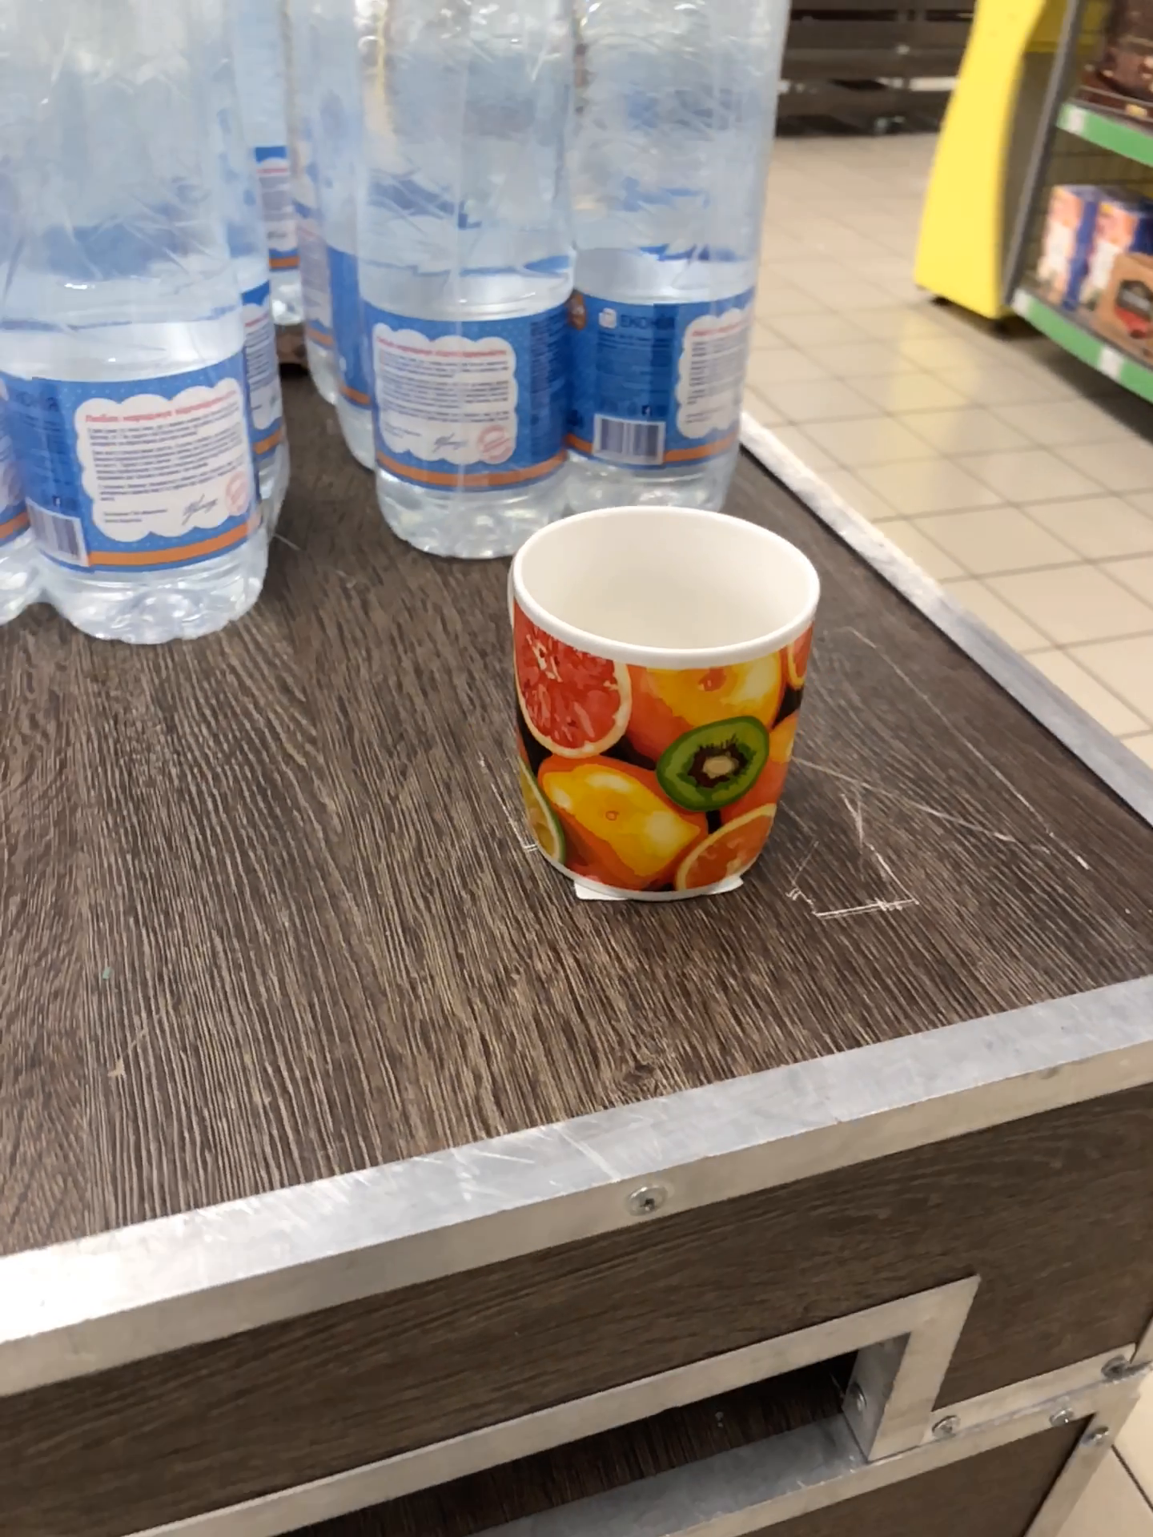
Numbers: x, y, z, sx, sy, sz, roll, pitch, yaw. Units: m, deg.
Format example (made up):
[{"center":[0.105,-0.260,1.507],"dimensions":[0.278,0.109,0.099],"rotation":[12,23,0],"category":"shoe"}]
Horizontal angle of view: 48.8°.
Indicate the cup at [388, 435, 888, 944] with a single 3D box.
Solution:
[{"center":[0.011,-0.032,0.389],"dimensions":[0.091,0.085,0.126],"rotation":[-17,40,-24],"category":"cup"}]
